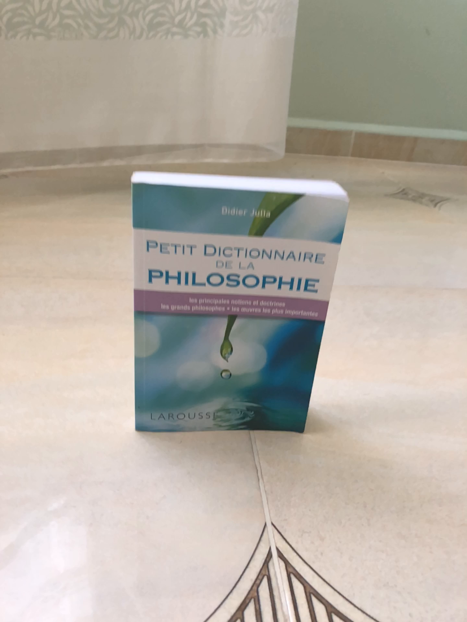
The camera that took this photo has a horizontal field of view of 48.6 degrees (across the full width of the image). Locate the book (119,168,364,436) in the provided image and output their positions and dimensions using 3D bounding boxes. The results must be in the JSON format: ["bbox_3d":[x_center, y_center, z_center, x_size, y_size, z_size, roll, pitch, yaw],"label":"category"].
[{"bbox_3d":[-0.002,0.003,0.354,0.140,0.185,0.035,2,30,-5],"label":"book"}]
